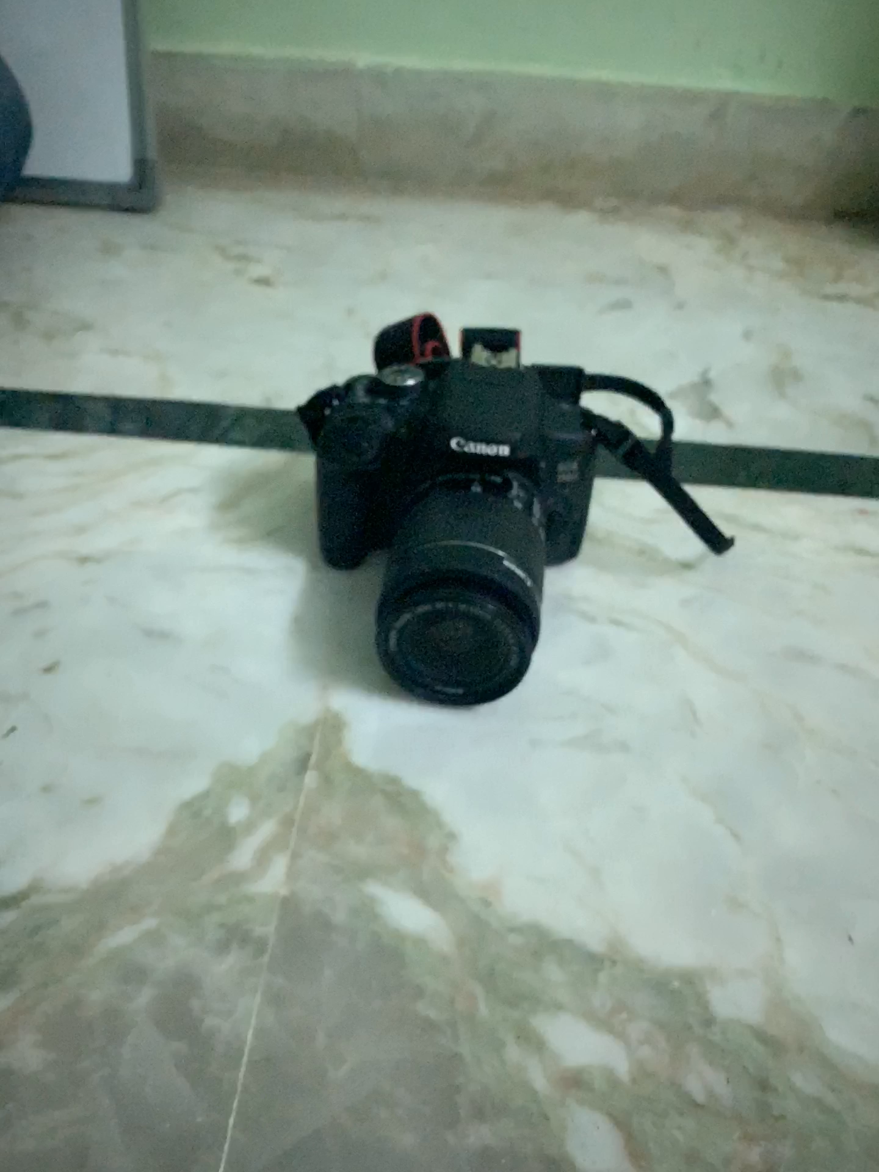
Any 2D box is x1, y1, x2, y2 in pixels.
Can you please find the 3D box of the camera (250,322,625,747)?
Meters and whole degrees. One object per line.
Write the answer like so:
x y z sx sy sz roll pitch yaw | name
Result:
0.004 -0.031 0.404 0.128 0.100 0.161 6 39 3 | camera
